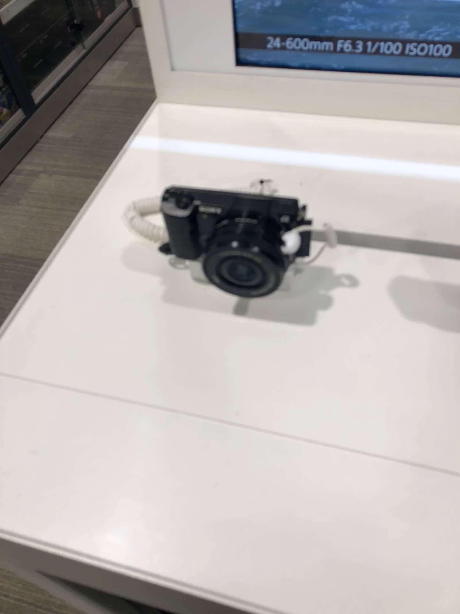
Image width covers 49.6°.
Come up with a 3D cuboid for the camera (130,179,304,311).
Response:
[{"bbox_3d":[-0.006,-0.049,0.381,0.113,0.060,0.062,9,53,14],"label":"camera"}]
